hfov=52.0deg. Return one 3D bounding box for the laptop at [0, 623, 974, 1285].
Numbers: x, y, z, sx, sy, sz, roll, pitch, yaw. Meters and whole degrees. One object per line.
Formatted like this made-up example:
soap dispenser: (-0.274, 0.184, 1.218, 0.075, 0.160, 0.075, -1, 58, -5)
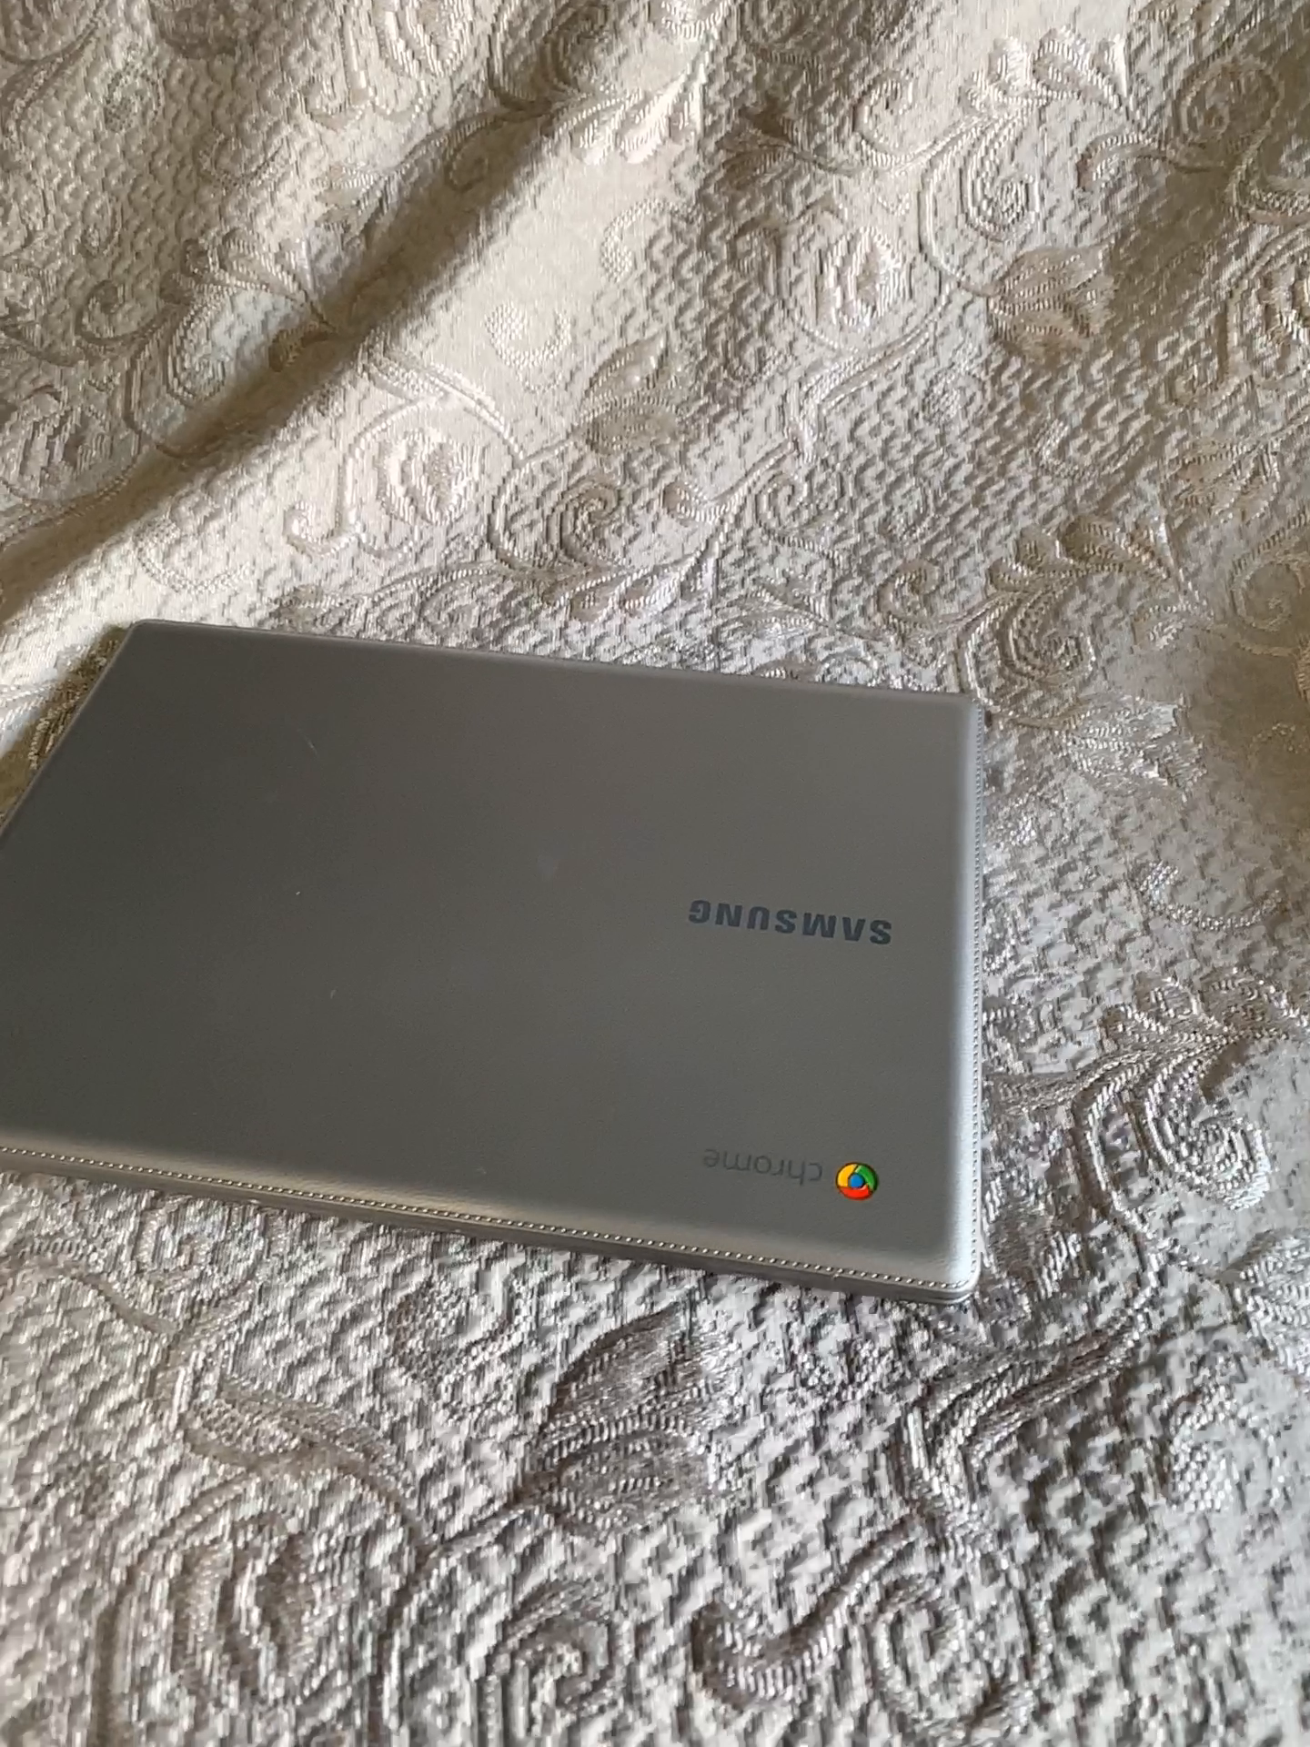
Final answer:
laptop: (-0.049, 0.005, 0.360, 0.264, 0.005, 0.176, 6, 53, 6)
